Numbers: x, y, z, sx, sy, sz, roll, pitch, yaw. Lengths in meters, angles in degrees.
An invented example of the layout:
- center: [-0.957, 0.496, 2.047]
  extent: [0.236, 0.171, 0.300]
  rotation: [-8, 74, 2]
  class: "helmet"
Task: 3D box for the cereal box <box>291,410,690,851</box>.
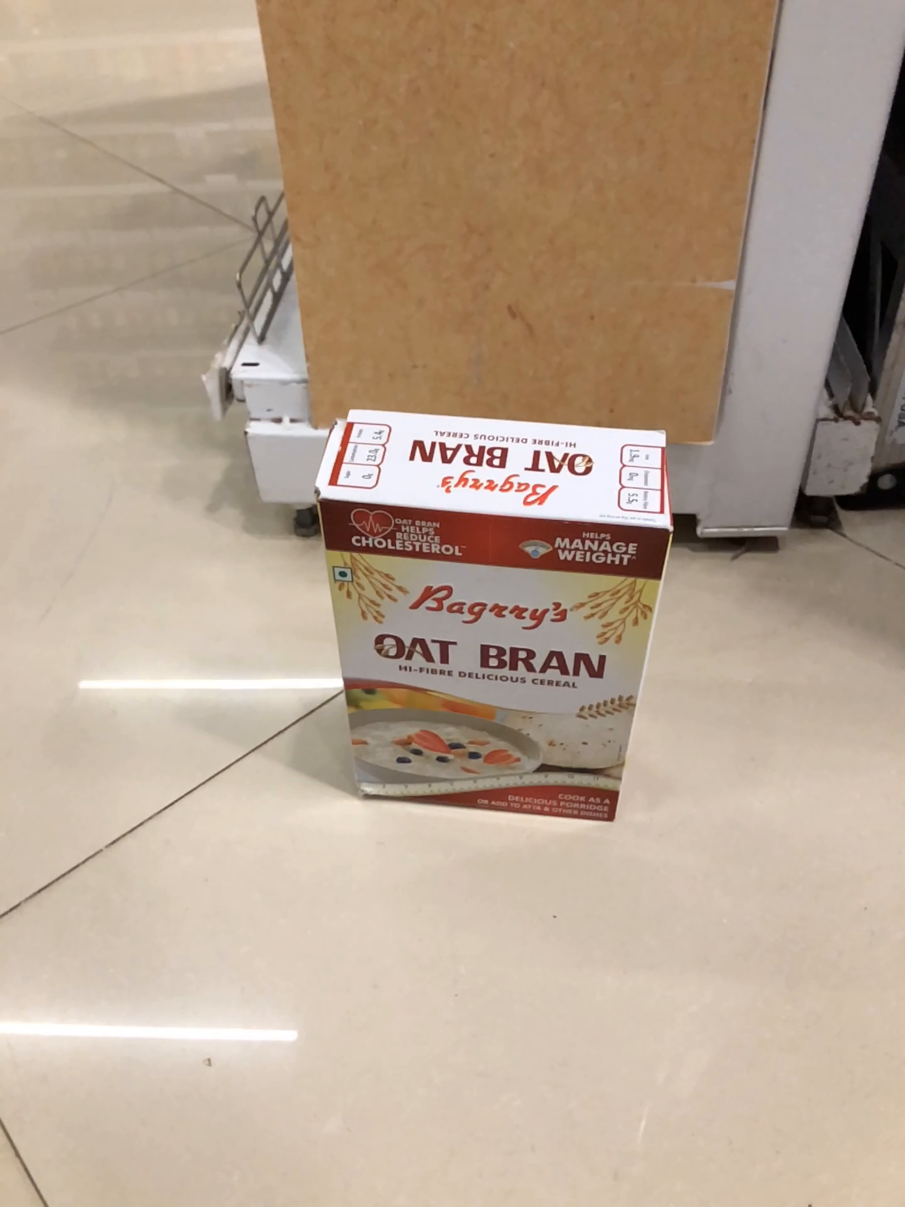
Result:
- center: [0.022, 0.021, 0.469]
  extent: [0.150, 0.209, 0.060]
  rotation: [6, 45, 11]
  class: "cereal box"
